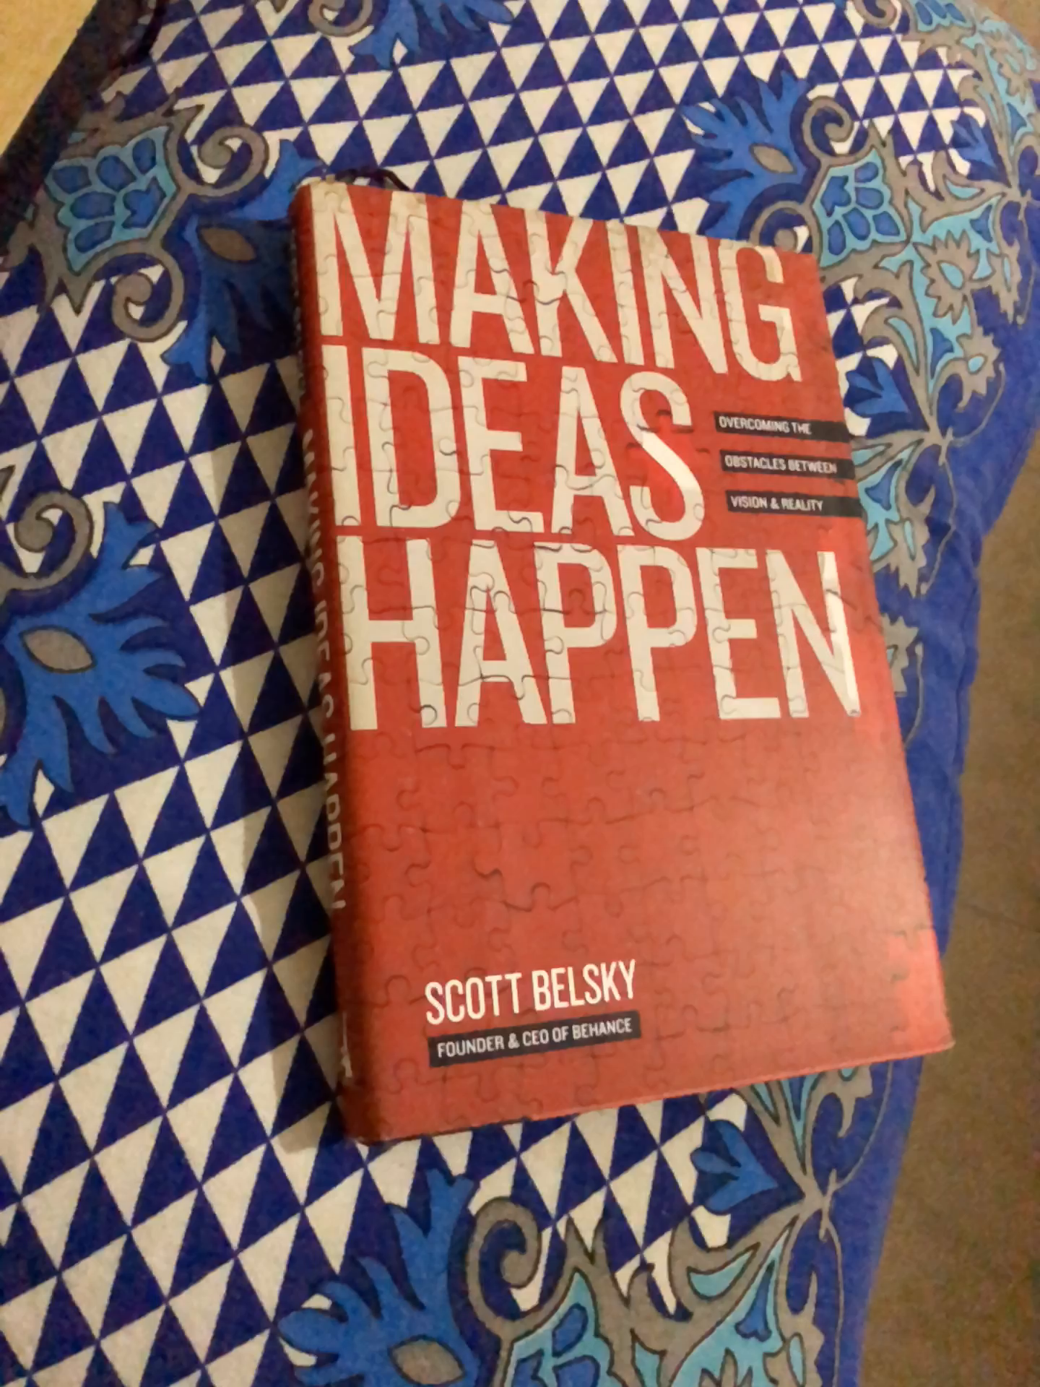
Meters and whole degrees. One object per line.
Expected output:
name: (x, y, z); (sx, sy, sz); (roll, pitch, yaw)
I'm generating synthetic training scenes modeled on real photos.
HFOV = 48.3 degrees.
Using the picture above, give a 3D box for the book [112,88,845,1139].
book: (-0.016, -0.031, 0.302); (0.160, 0.030, 0.250); (-2, 74, -22)
